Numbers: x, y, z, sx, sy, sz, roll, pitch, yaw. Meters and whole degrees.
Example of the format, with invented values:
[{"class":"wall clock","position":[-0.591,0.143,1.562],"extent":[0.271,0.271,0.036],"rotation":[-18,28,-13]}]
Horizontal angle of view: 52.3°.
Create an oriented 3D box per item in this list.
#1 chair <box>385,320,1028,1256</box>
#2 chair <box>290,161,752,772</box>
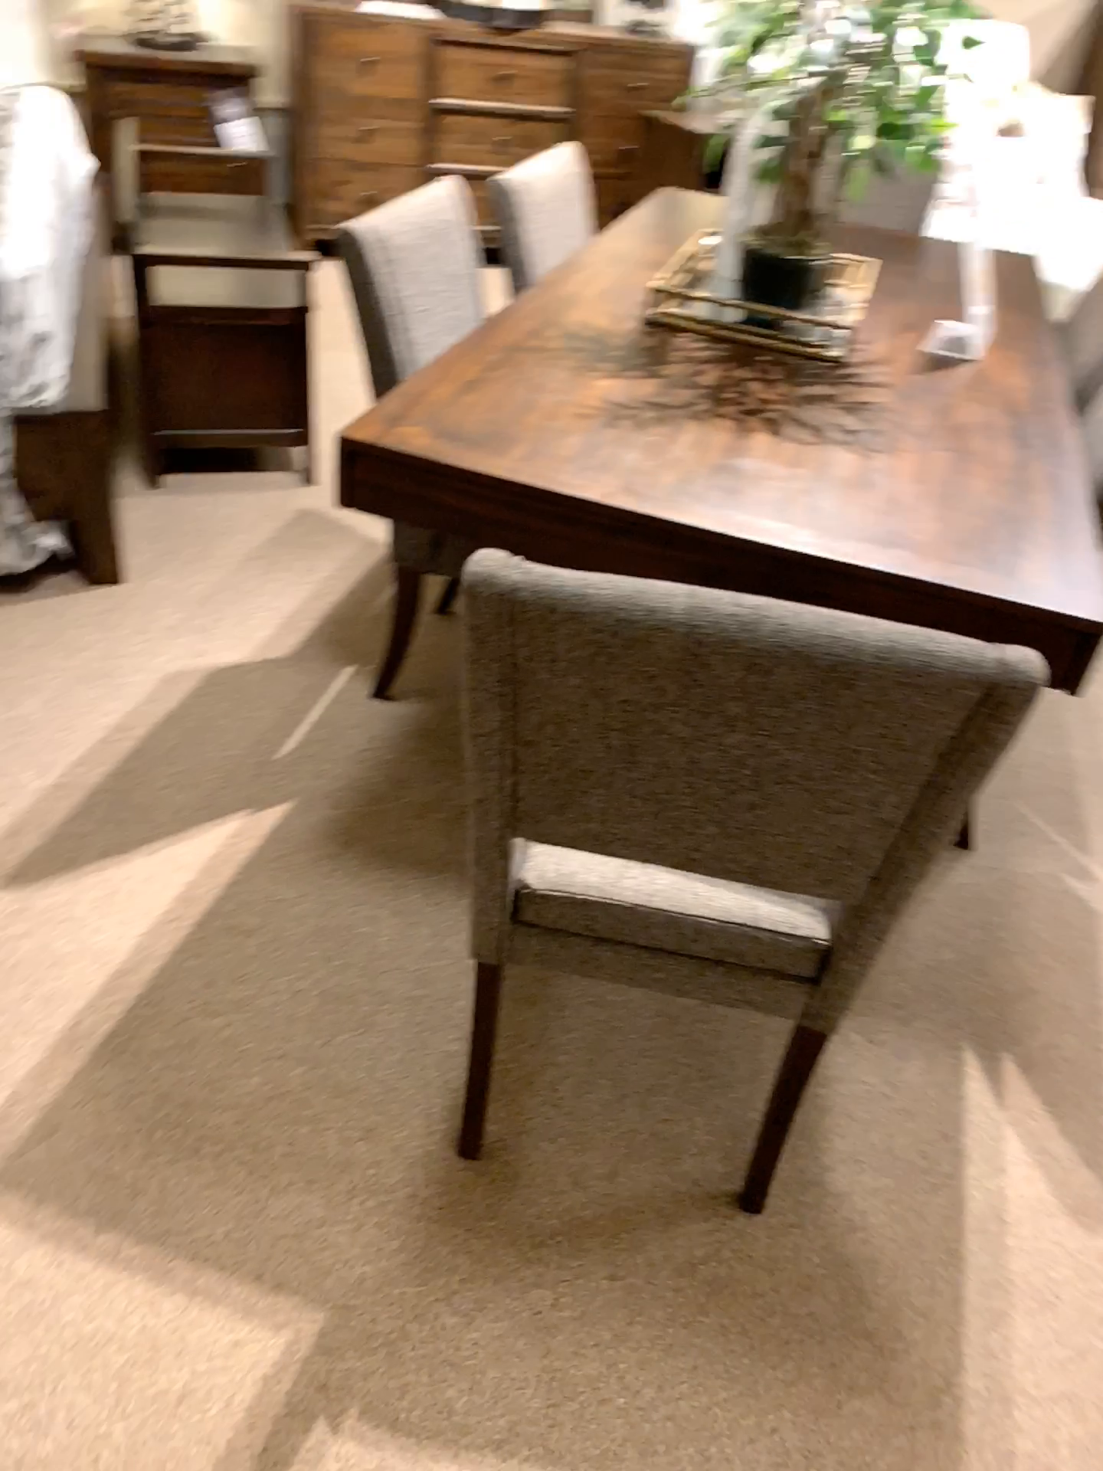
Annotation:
[{"class":"chair","position":[0.129,0.060,1.375],"extent":[0.479,0.862,0.634],"rotation":[11,37,4]},{"class":"chair","position":[-0.069,-0.488,2.064],"extent":[0.630,0.862,0.482],"rotation":[15,37,9]}]
